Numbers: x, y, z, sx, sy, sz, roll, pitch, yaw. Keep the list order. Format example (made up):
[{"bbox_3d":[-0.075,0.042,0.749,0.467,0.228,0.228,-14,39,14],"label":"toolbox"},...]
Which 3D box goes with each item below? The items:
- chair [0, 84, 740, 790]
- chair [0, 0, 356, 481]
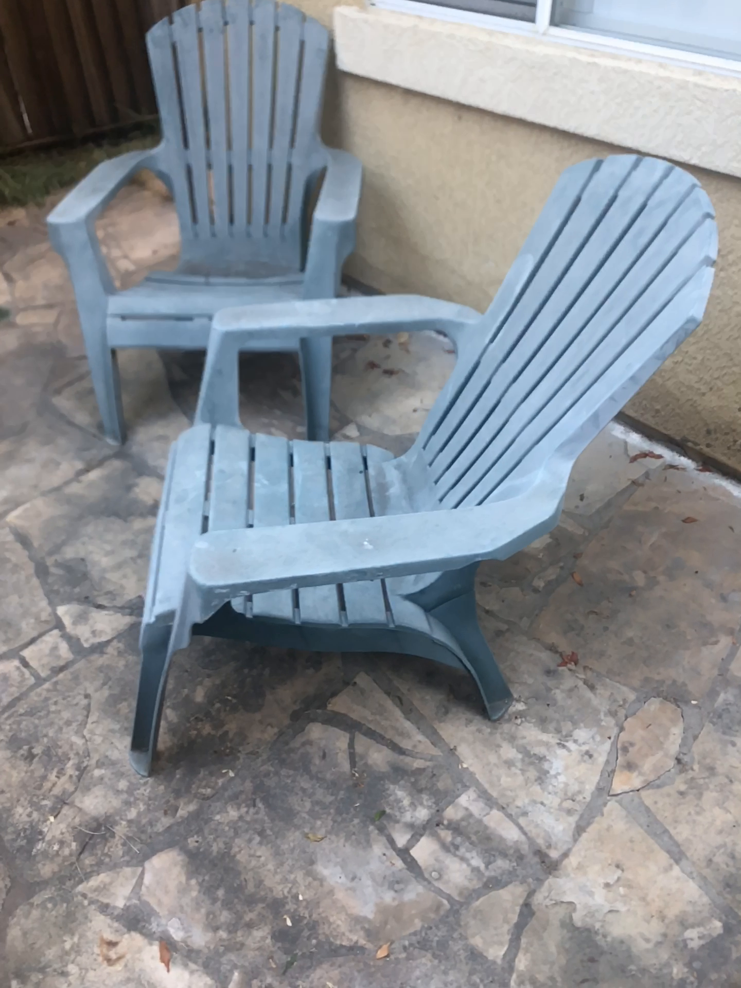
[{"bbox_3d":[-0.016,-0.100,1.367,0.921,0.882,0.696,-2,39,-7],"label":"chair"},{"bbox_3d":[-0.444,-0.816,2.432,0.740,1.220,0.918,2,32,2],"label":"chair"}]
